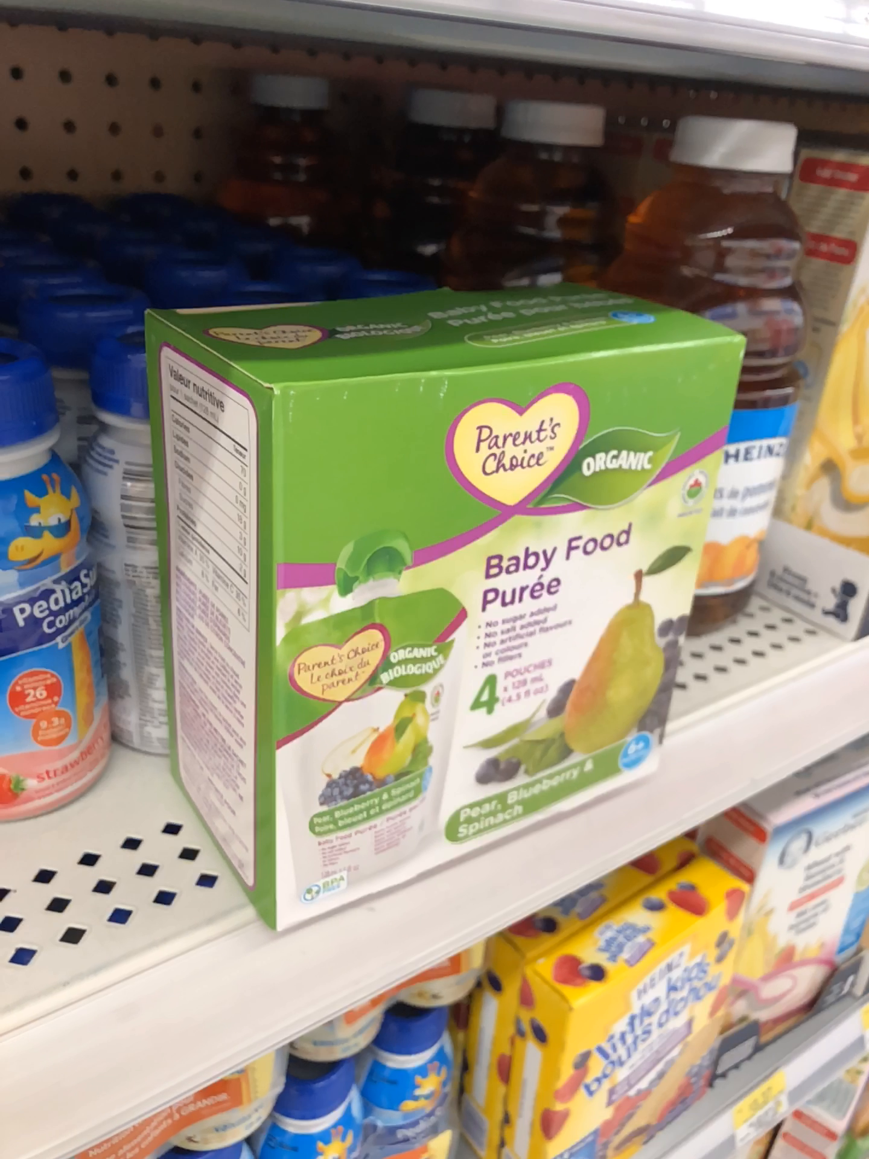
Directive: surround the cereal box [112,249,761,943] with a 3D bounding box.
[{"bbox_3d":[-0.004,-0.009,0.295,0.150,0.159,0.090,-14,33,-34],"label":"cereal box"}]
